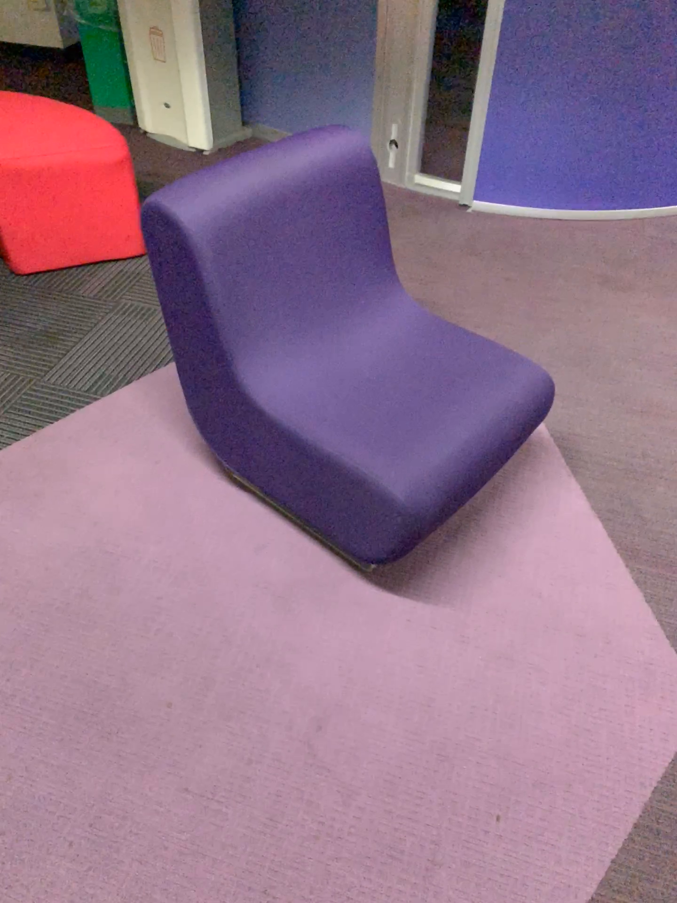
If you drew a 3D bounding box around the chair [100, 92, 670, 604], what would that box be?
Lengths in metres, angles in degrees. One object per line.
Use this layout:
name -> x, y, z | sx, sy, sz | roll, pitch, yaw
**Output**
chair -> 0.102, -0.315, 1.592 | 0.823, 0.614, 0.805 | 31, 51, 27
